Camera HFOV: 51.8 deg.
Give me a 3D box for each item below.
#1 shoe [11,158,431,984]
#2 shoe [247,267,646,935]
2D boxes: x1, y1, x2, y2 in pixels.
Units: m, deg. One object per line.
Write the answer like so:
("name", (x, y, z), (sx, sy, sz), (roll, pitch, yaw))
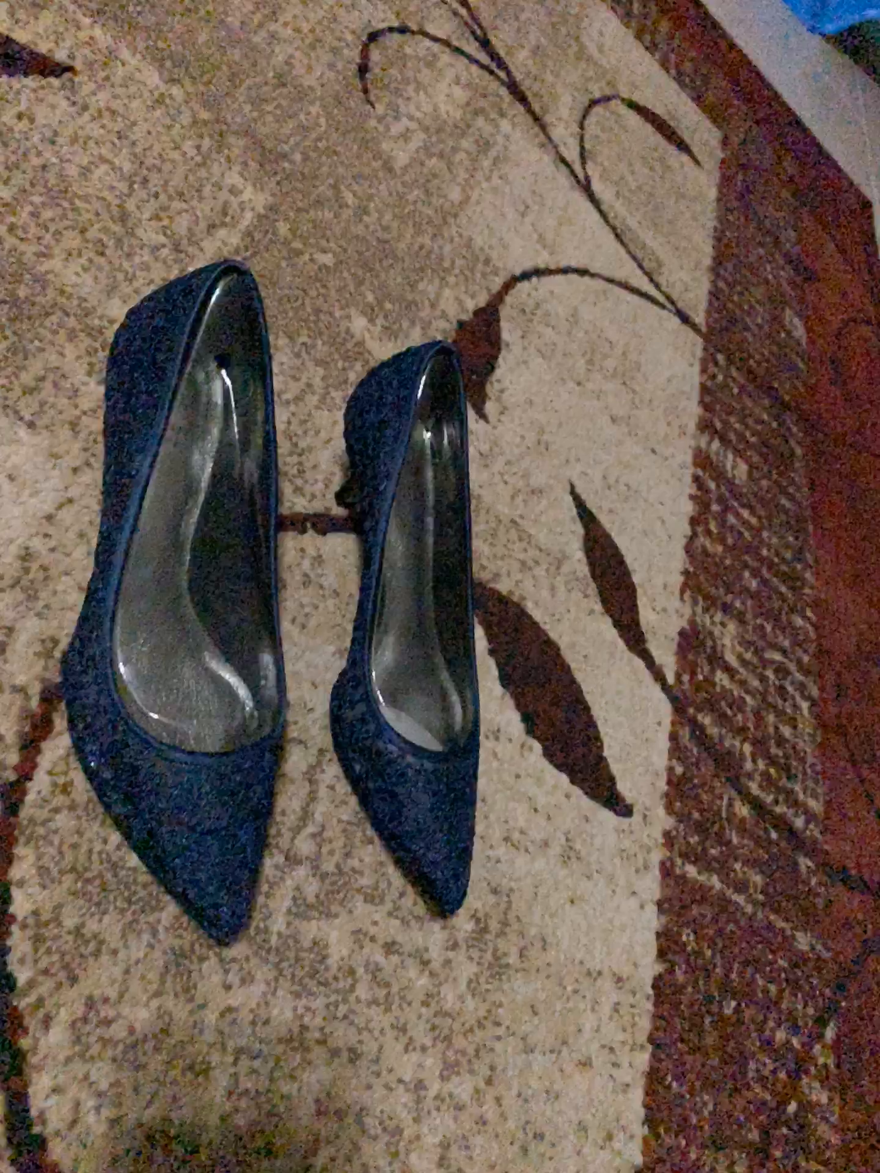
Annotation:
("shoe", (-0.098, -0.012, 0.361), (0.088, 0.088, 0.293), (2, 65, -40))
("shoe", (-0.007, 0.002, 0.430), (0.088, 0.088, 0.284), (2, 65, -40))
